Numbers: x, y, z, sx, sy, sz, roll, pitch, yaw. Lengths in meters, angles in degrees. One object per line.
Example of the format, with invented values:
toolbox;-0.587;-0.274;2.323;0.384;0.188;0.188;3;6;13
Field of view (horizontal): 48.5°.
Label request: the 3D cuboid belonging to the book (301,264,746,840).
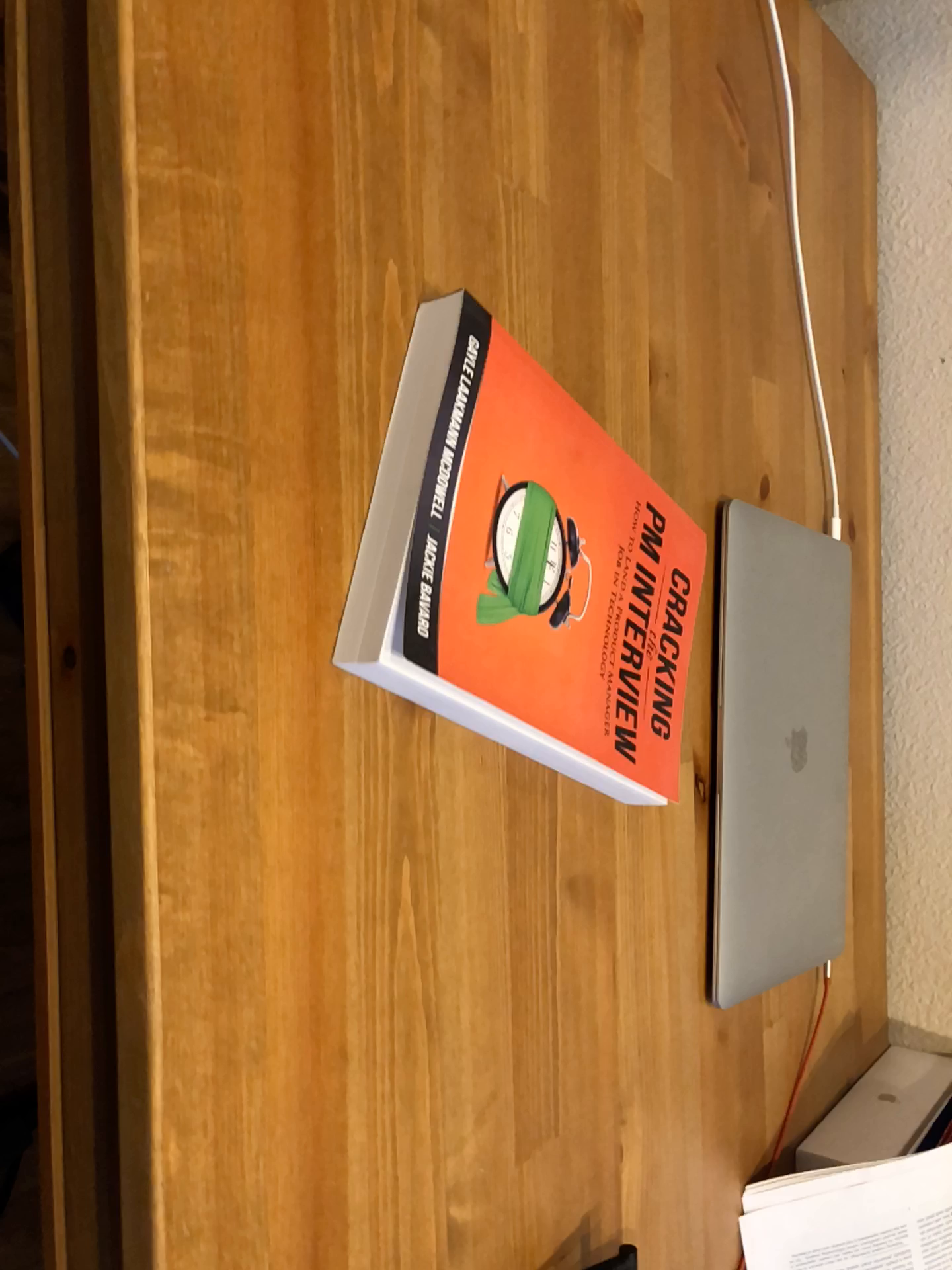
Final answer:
book;0.043;-0.015;0.465;0.252;0.040;0.160;31;65;-49
